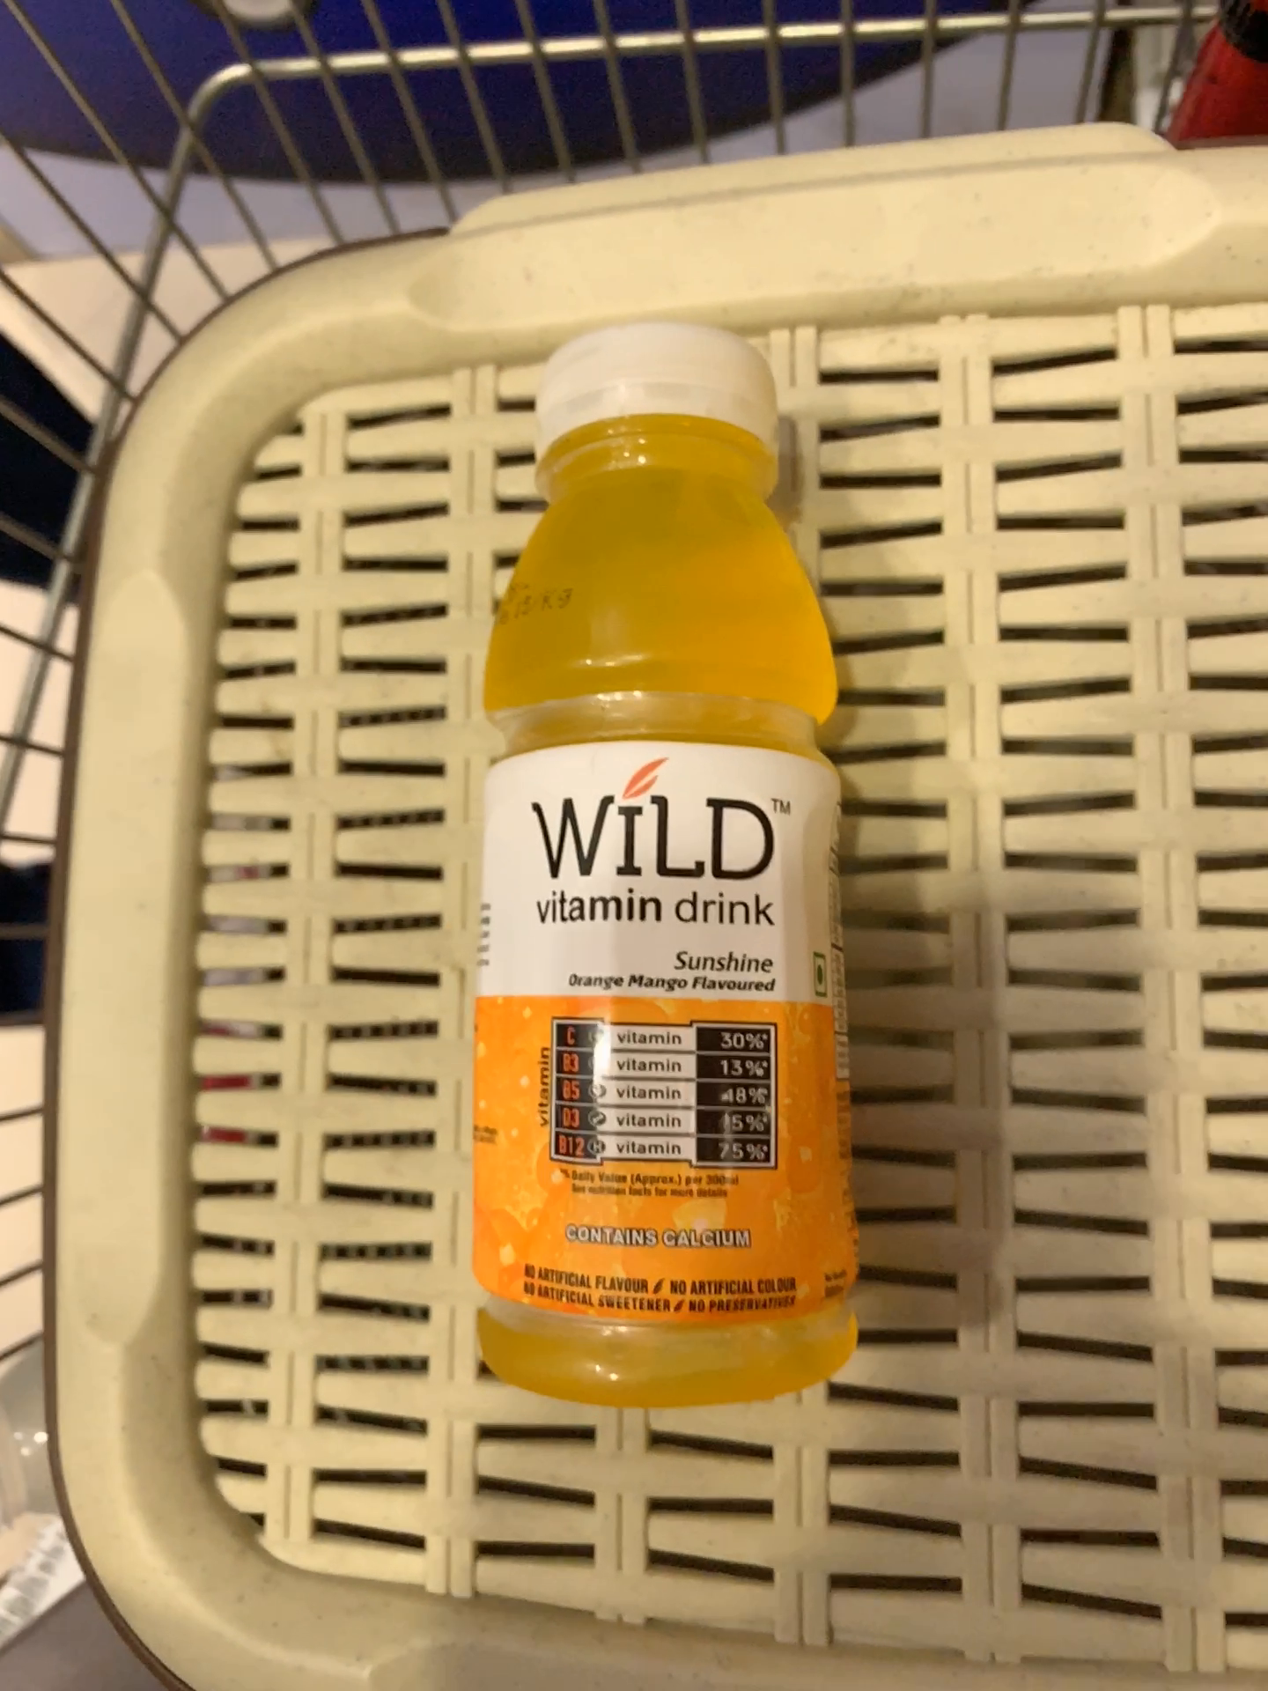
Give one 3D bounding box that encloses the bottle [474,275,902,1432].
[{"bbox_3d":[0.007,0.001,0.225,0.060,0.060,0.170,1,84,-2],"label":"bottle"}]
